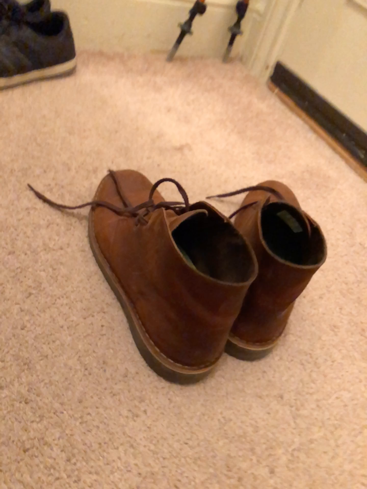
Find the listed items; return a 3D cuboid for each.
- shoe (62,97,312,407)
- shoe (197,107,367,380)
[{"bbox_3d":[-0.027,-0.014,0.440,0.110,0.138,0.304,-12,53,-29],"label":"shoe"},{"bbox_3d":[0.116,-0.021,0.497,0.110,0.138,0.305,19,44,-1],"label":"shoe"}]
